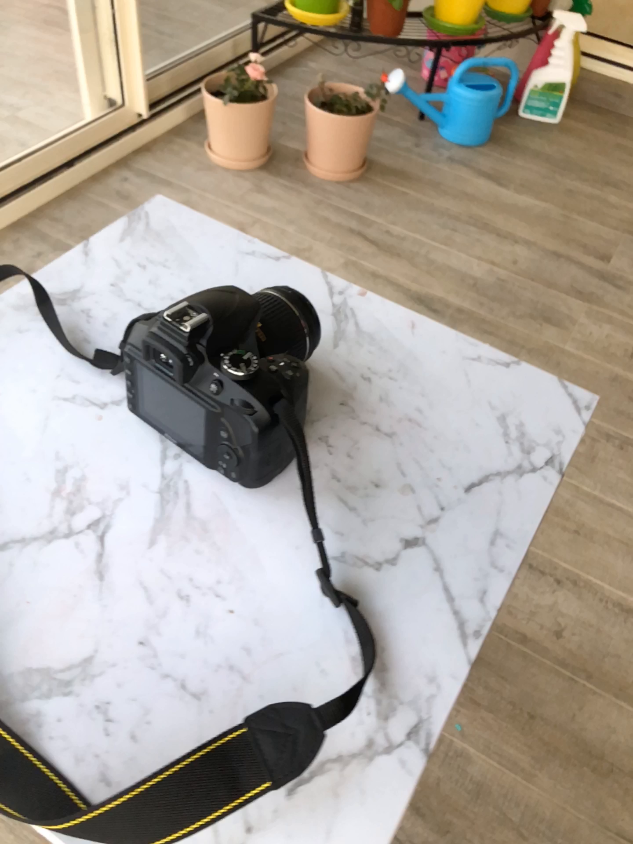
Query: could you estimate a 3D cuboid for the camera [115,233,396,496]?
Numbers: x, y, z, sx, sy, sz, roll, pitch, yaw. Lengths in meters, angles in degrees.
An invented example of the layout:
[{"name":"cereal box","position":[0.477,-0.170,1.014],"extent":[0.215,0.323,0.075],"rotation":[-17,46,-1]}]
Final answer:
[{"name":"camera","position":[-0.040,-0.046,0.480],"extent":[0.122,0.076,0.138],"rotation":[33,50,20]}]
